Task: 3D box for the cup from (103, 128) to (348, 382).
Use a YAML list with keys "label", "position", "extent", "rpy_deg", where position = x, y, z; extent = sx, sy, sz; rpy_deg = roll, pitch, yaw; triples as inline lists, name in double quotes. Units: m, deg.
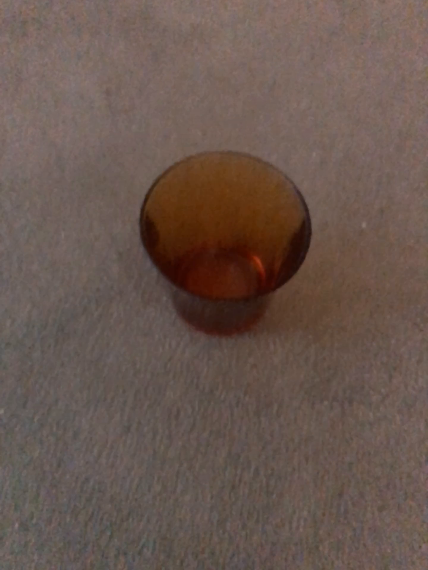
- label: "cup"
  position: [0.004, -0.011, 0.226]
  extent: [0.070, 0.070, 0.070]
  rpy_deg: [0, 67, 0]
